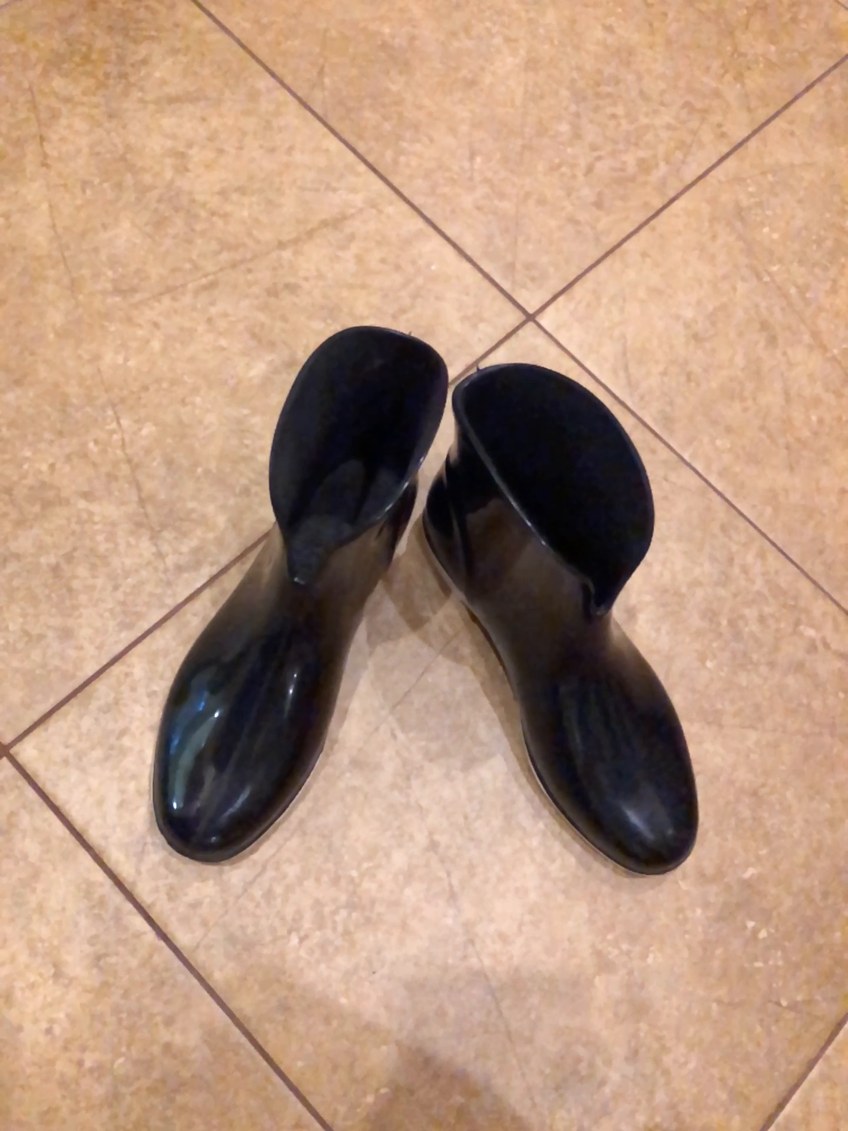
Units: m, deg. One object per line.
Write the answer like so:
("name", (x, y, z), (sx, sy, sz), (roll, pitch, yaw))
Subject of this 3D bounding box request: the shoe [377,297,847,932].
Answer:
("shoe", (0.079, 0.033, 0.442), (0.090, 0.170, 0.240), (-26, 76, -15))

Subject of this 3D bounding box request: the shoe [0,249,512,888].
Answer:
("shoe", (-0.064, 0.014, 0.433), (0.090, 0.170, 0.241), (26, 70, 2))
